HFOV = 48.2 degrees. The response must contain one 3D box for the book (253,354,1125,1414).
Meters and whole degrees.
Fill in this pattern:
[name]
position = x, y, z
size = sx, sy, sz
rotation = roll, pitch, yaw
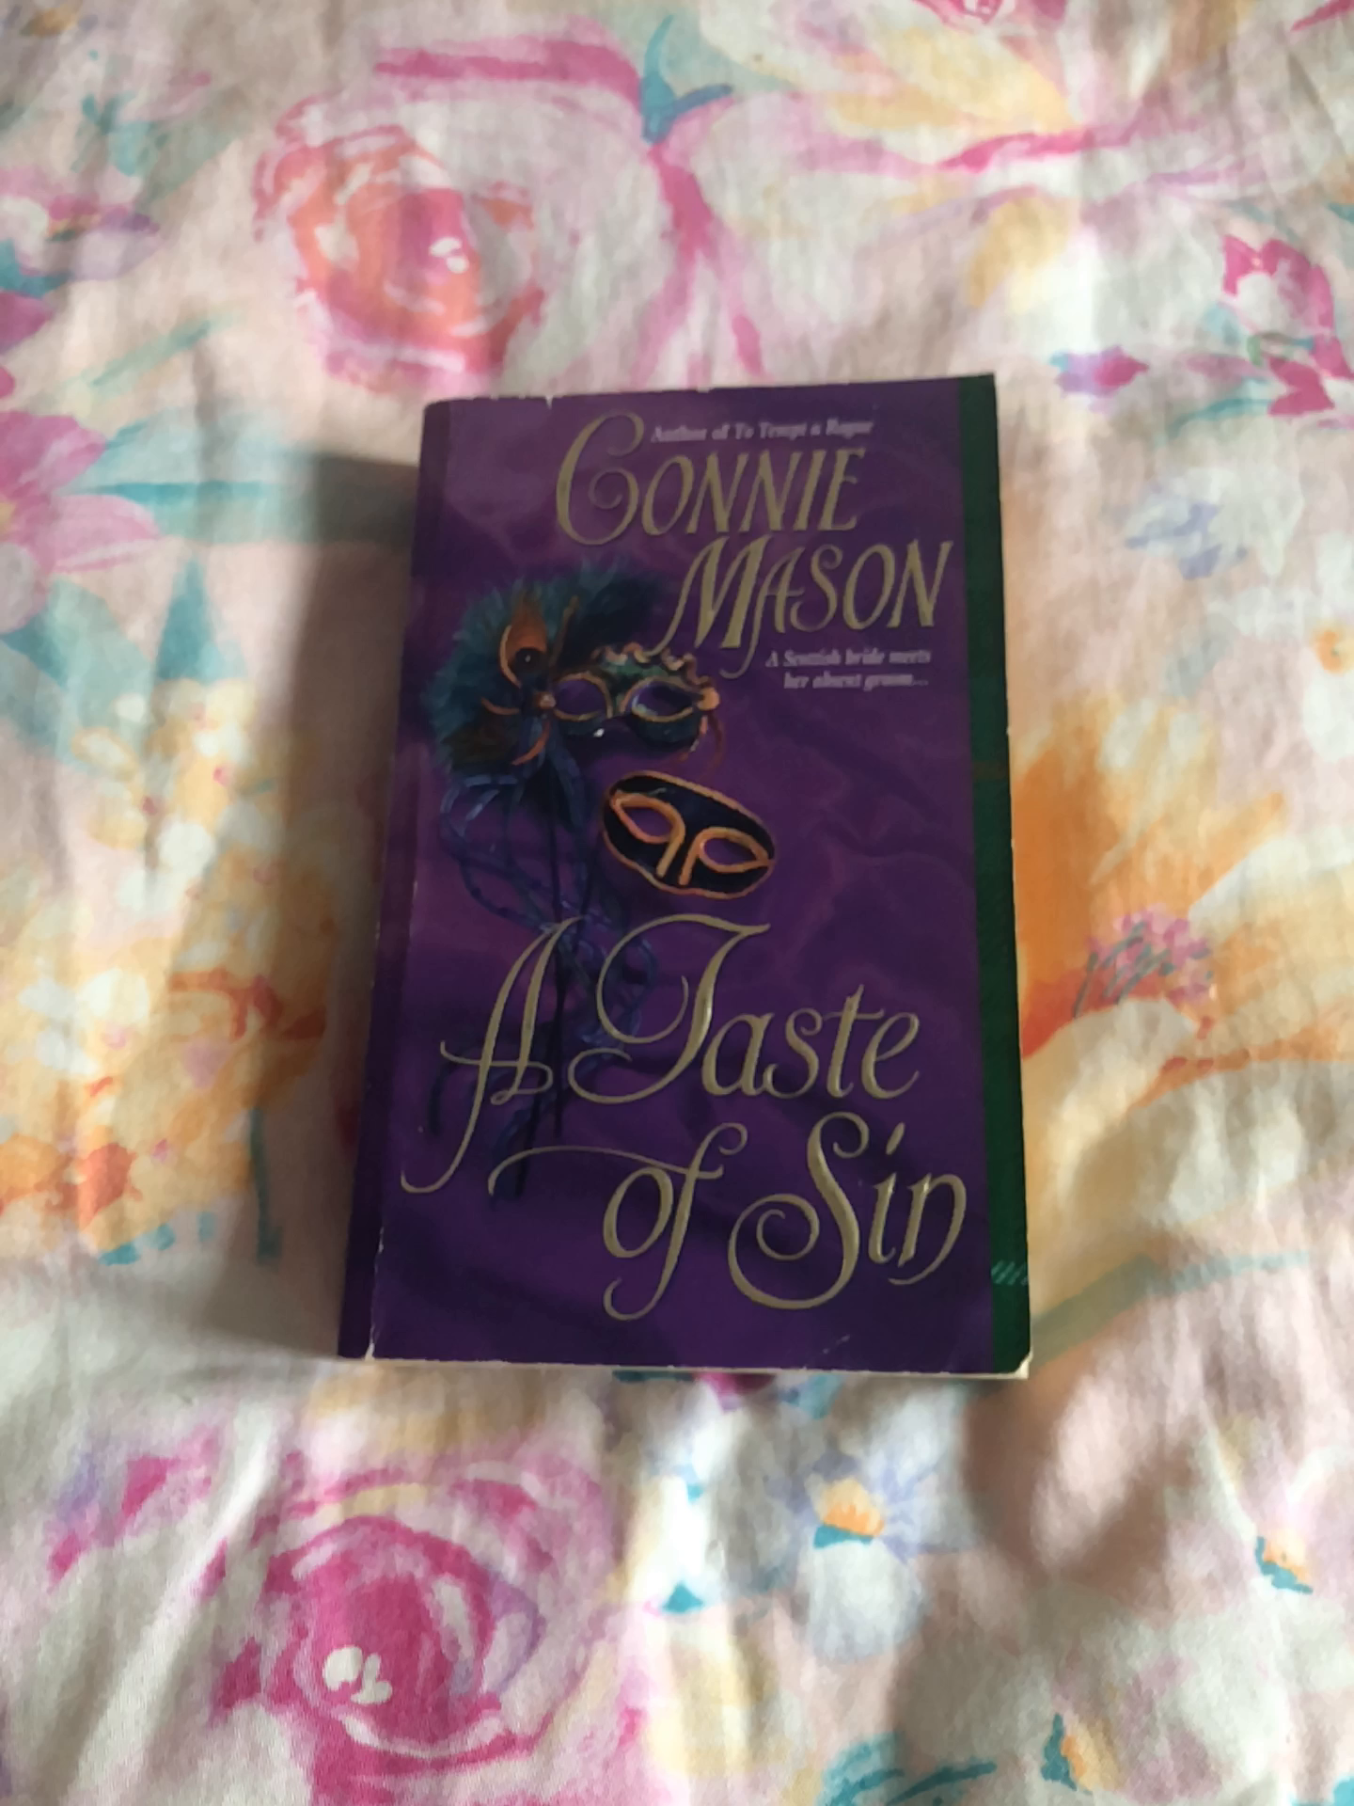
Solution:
[book]
position = 0.001, -0.008, 0.262
size = 0.120, 0.040, 0.181
rotation = 1, 67, -2
